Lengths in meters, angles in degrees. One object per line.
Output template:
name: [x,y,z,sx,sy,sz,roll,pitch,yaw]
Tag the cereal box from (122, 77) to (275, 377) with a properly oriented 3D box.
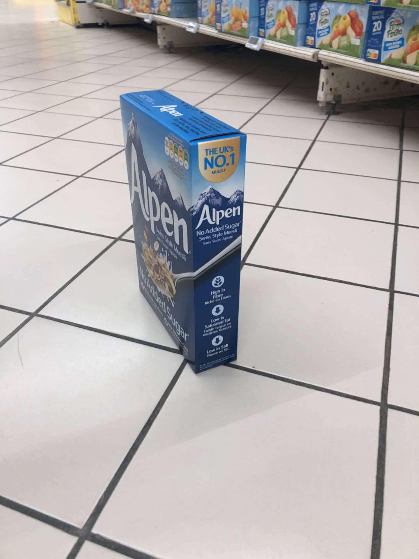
cereal box: [-0.019,-0.057,0.449,0.060,0.229,0.181,-15,36,-21]
